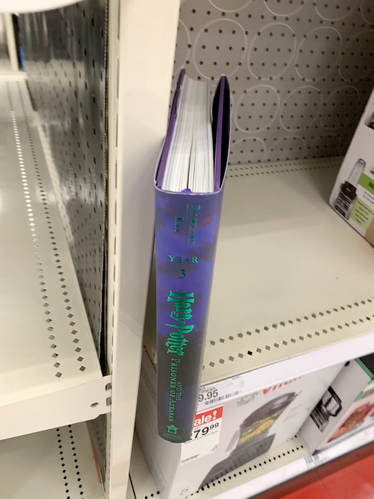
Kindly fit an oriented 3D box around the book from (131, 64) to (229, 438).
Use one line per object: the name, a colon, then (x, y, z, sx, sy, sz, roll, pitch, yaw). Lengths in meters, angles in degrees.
book: (-0.001, 0.001, 0.386, 0.050, 0.280, 0.241, 6, 40, 2)
